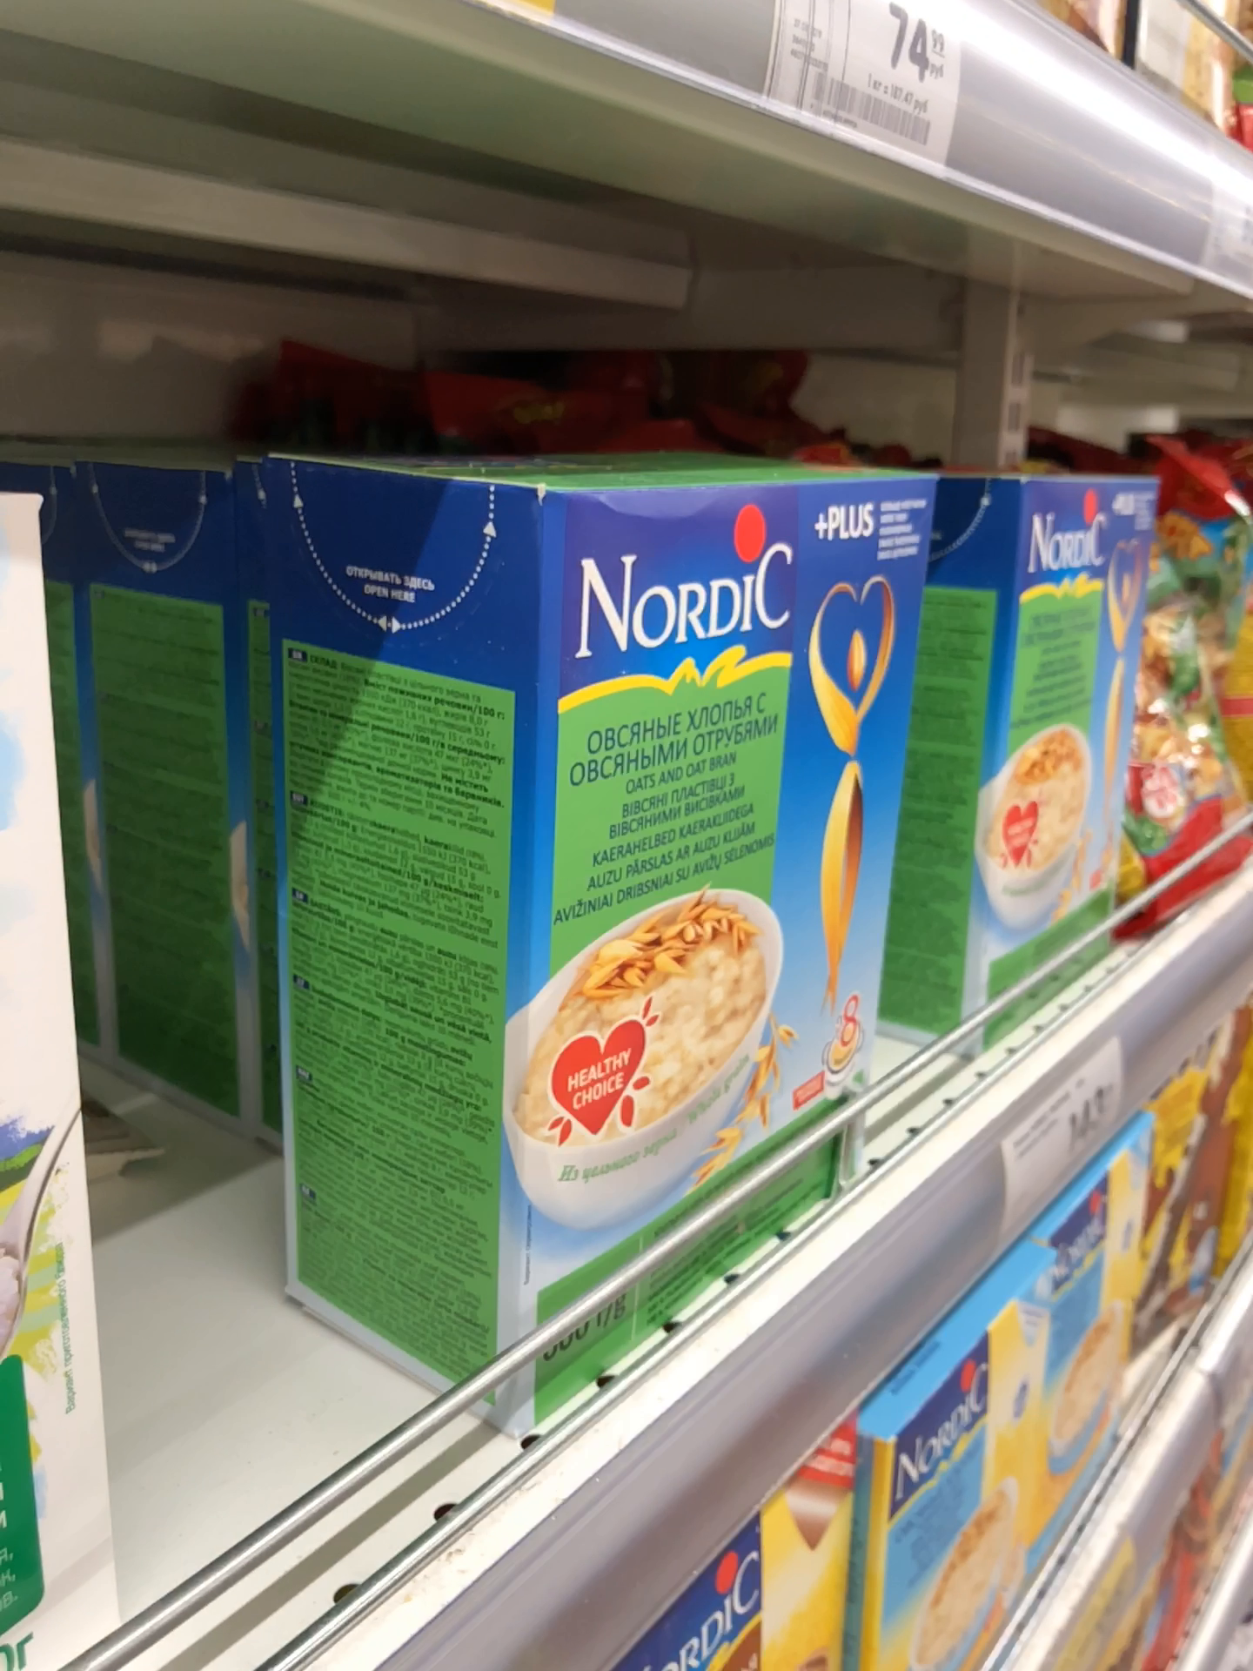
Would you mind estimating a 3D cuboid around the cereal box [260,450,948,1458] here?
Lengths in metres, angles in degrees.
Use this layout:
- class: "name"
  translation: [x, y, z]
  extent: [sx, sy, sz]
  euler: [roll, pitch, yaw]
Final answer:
- class: "cereal box"
  translation: [0.000, 0.010, 0.329]
  extent: [0.070, 0.189, 0.150]
  euler: [14, 20, 36]
